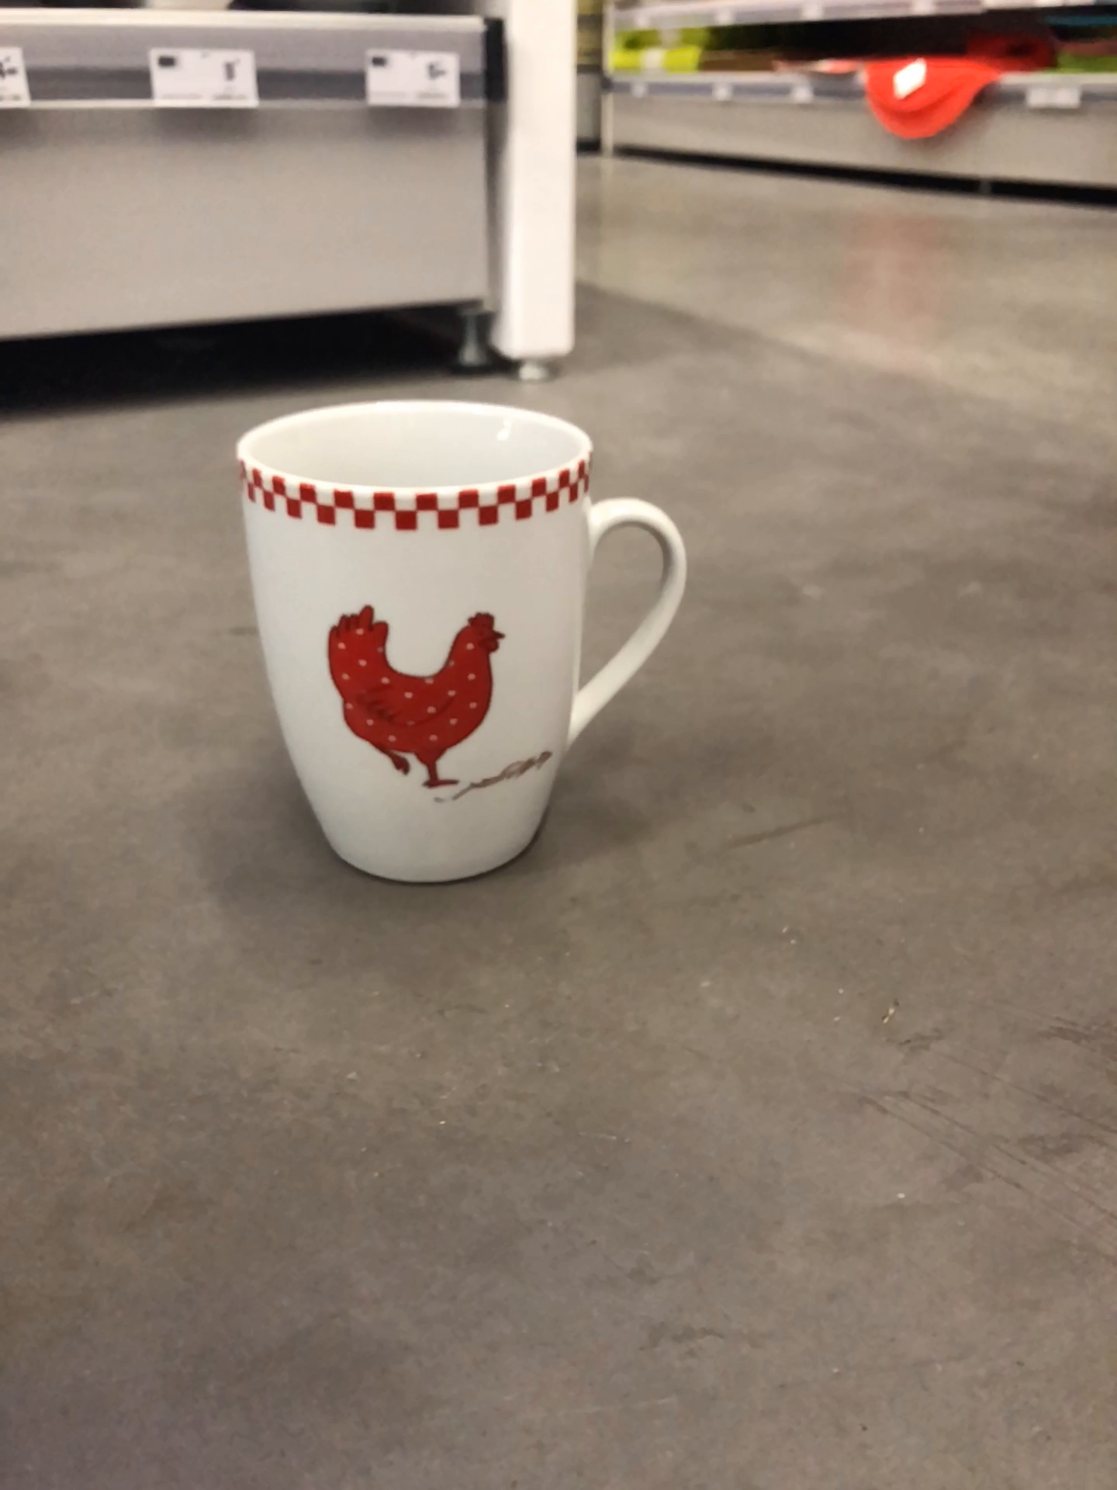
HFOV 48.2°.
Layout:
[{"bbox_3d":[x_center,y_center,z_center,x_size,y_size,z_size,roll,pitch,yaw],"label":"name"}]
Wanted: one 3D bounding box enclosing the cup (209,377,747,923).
[{"bbox_3d":[-0.023,-0.029,0.295,0.103,0.092,0.088,-7,28,-13],"label":"cup"}]
